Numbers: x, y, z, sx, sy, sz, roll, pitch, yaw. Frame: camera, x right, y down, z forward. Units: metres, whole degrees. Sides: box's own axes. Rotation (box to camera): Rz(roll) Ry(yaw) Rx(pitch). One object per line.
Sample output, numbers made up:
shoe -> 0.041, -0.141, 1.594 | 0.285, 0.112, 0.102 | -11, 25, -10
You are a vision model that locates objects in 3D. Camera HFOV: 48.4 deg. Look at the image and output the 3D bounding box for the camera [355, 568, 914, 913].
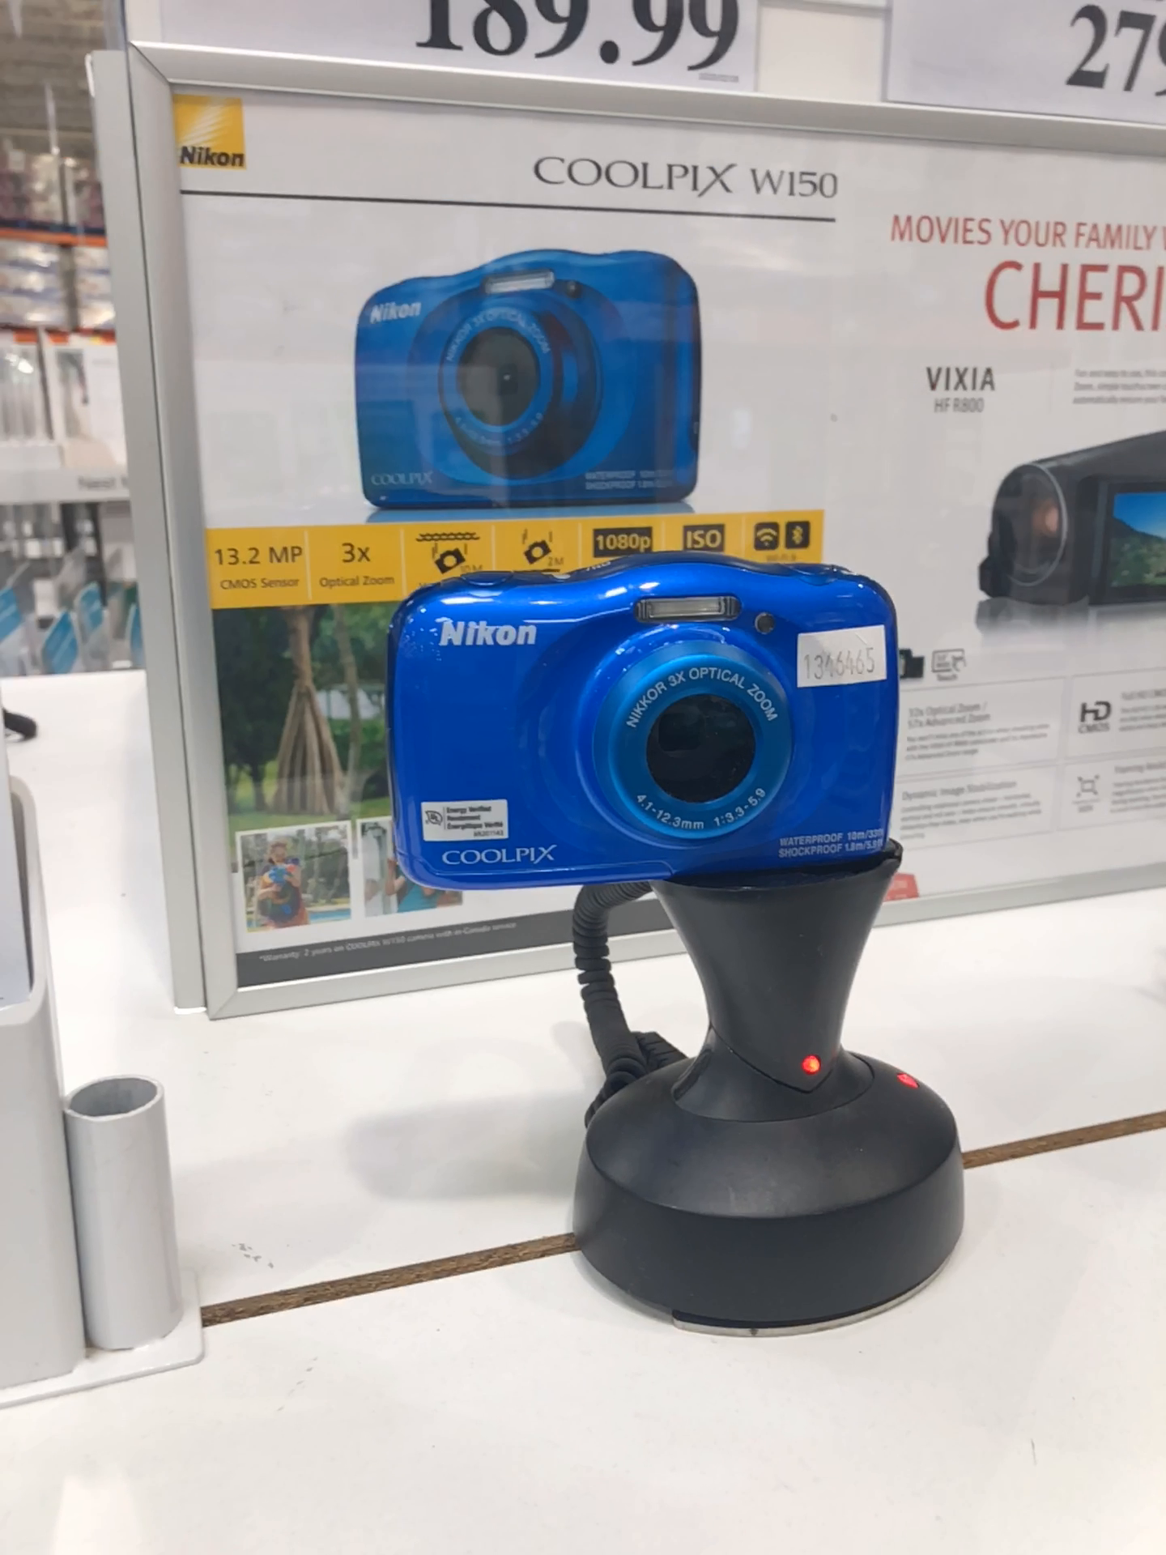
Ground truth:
camera -> 0.010, -0.011, 0.279 | 0.110, 0.060, 0.040 | -4, 15, -15
